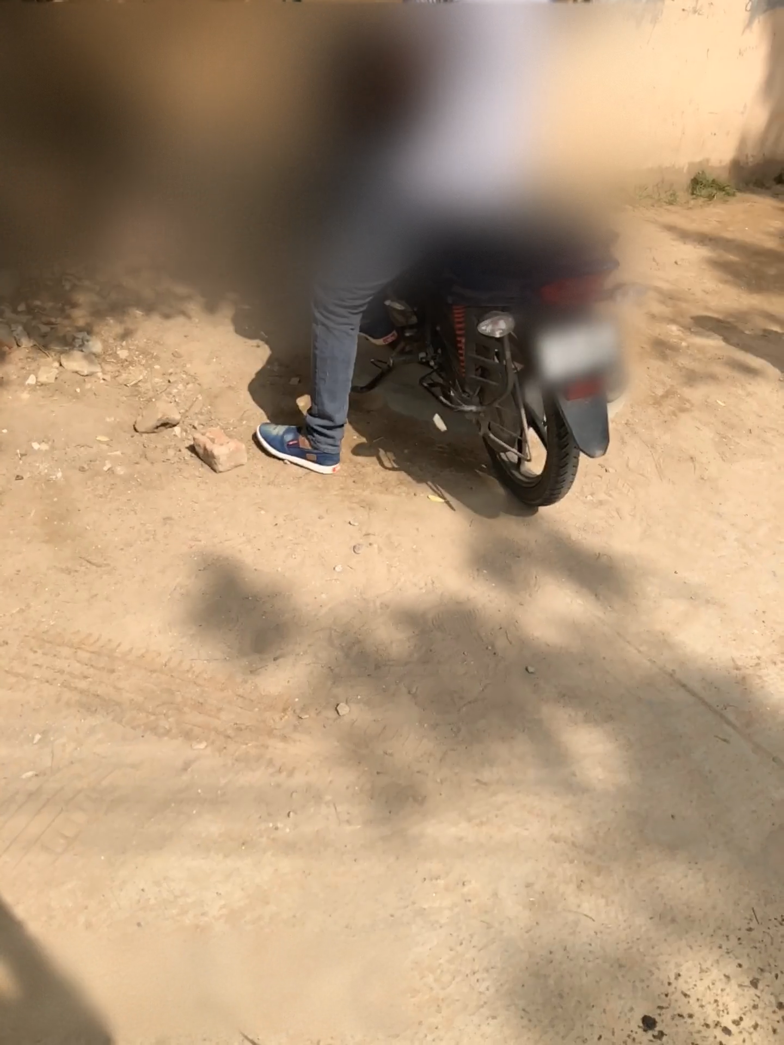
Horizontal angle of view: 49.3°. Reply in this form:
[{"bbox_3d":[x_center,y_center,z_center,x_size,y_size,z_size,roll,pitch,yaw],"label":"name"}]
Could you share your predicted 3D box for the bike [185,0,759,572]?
[{"bbox_3d":[-0.003,-0.969,2.580,0.741,1.241,1.792,-11,39,-21],"label":"bike"}]
